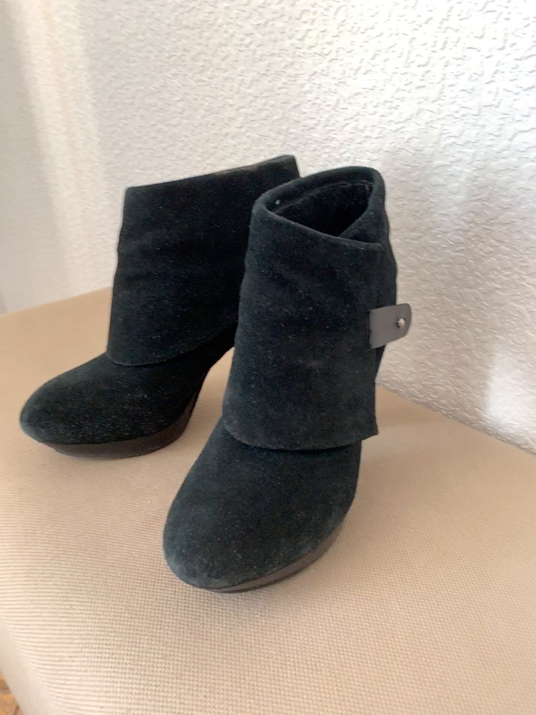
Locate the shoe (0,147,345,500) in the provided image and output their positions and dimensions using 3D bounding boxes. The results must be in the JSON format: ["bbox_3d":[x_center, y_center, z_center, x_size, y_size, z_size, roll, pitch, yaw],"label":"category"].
[{"bbox_3d":[-0.068,-0.034,0.365,0.217,0.166,0.090,-16,32,-22],"label":"shoe"}]

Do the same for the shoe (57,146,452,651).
[{"bbox_3d":[0.020,-0.006,0.296,0.090,0.166,0.218,13,33,25],"label":"shoe"}]
